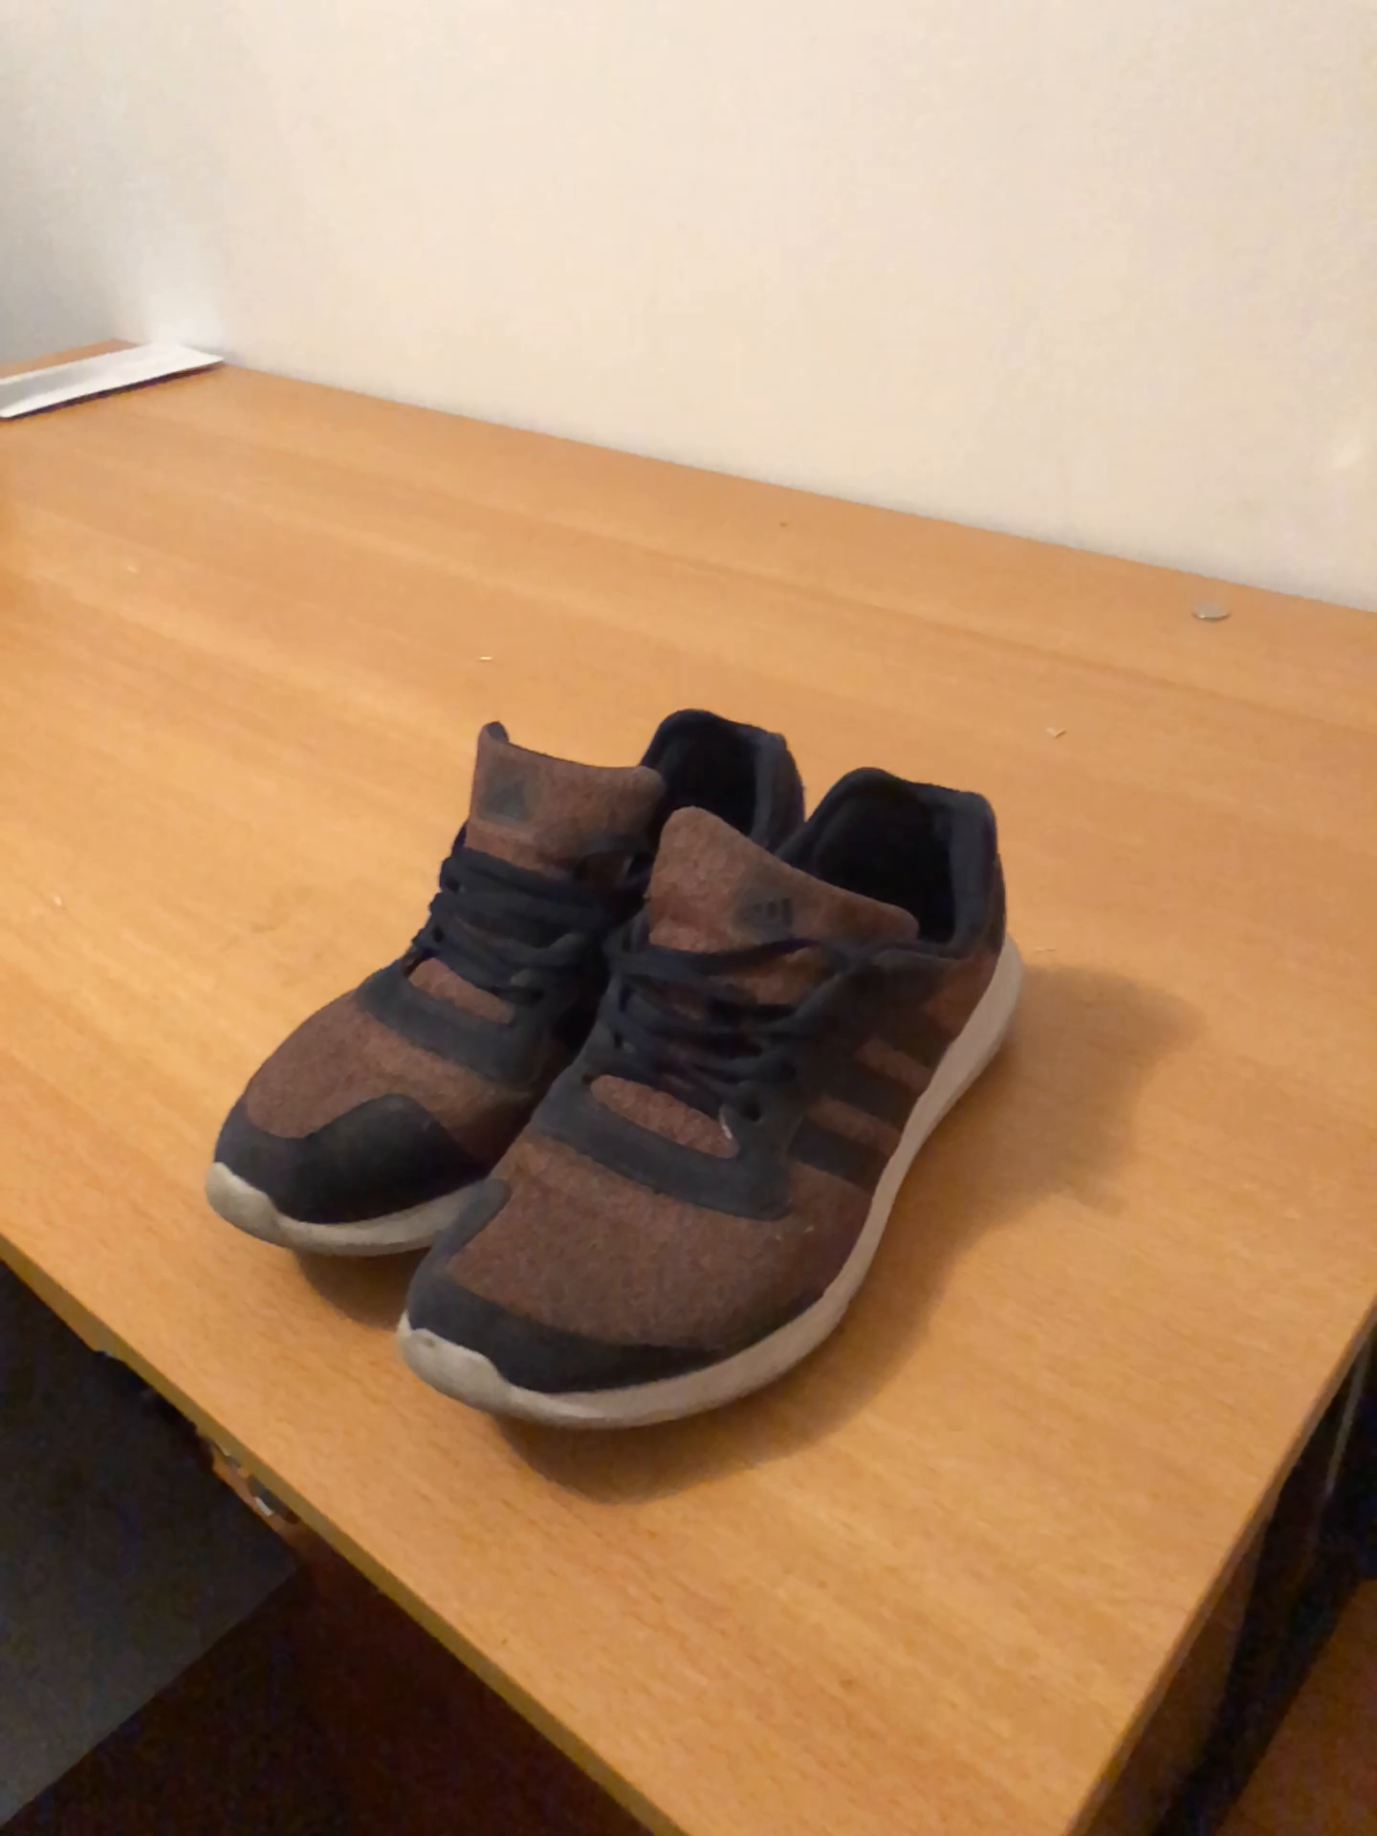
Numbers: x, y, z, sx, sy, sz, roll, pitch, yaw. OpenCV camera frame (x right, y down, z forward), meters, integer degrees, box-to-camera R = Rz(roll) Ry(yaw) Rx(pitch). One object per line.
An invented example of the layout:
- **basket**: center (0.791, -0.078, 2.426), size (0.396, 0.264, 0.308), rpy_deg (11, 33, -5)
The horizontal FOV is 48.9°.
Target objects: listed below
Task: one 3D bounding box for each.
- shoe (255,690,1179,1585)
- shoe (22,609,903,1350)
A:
- **shoe**: center (0.025, 0.039, 0.457), size (0.130, 0.099, 0.261), rpy_deg (22, 41, 33)
- **shoe**: center (-0.058, -0.003, 0.543), size (0.130, 0.099, 0.291), rpy_deg (22, 41, 33)
